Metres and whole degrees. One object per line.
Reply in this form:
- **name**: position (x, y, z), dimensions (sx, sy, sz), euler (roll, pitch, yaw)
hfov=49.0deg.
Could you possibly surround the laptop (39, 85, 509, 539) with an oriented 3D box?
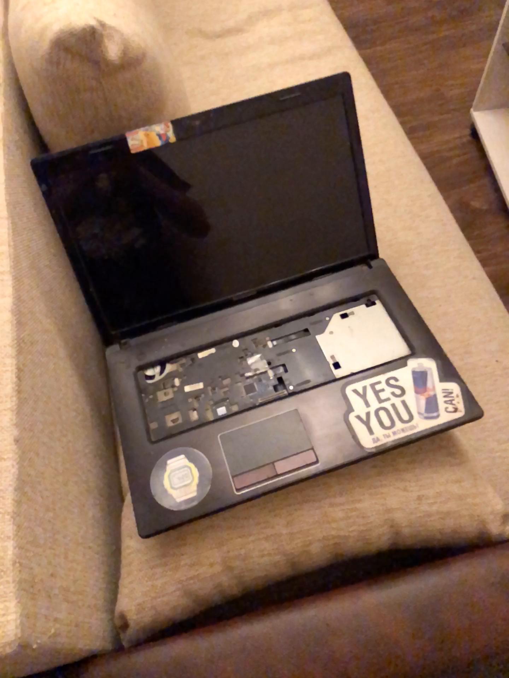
- **laptop**: position (0.002, -0.052, 0.665), dimensions (0.412, 0.198, 0.409), euler (-18, 57, -6)
